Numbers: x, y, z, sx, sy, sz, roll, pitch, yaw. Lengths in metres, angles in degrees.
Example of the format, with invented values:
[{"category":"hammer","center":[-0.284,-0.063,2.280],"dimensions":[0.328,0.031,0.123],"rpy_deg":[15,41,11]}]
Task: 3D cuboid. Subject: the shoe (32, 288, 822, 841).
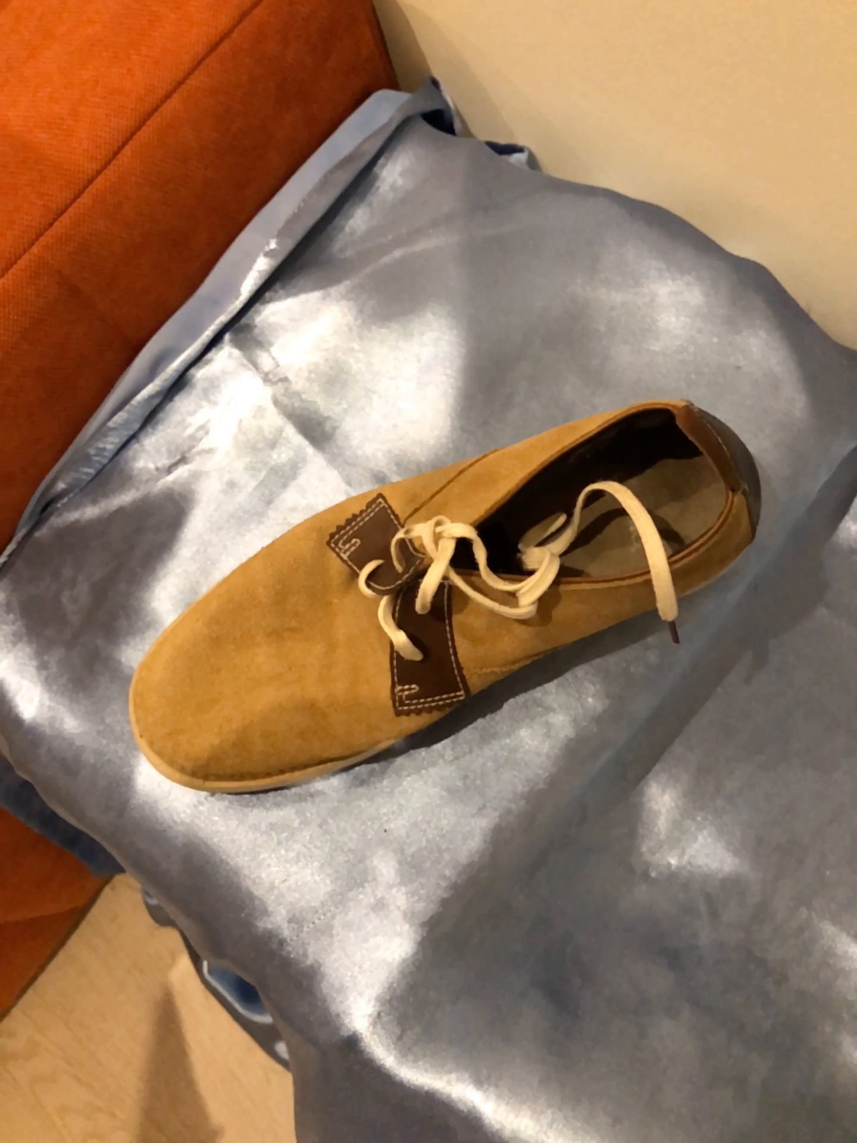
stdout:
[{"category":"shoe","center":[-0.002,0.010,0.437],"dimensions":[0.300,0.120,0.120],"rpy_deg":[-23,72,4]}]
